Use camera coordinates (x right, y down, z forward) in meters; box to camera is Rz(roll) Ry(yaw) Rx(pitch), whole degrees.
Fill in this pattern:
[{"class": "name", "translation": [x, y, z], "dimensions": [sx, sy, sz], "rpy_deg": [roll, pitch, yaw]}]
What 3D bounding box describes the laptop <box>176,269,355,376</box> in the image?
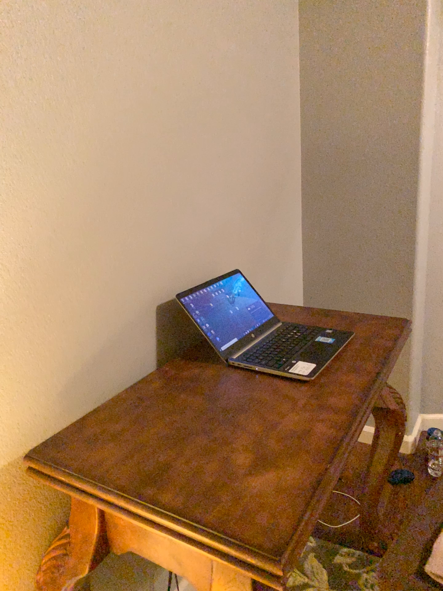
[{"class": "laptop", "translation": [0.129, 0.049, 1.222], "dimensions": [0.367, 0.152, 0.318], "rpy_deg": [6, 18, 32]}]
